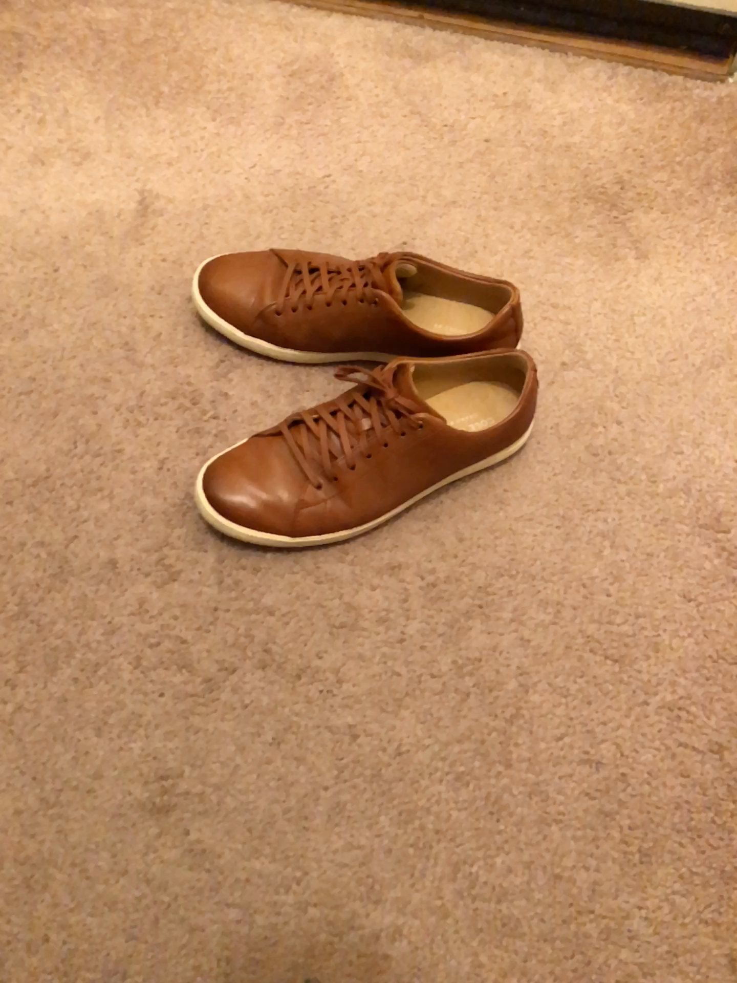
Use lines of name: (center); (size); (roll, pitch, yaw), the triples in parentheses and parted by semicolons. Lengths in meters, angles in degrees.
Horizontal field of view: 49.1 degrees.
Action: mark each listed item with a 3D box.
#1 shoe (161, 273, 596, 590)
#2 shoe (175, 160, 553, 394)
shoe: (0.007, -0.048, 0.614); (0.285, 0.100, 0.117); (-22, 67, -14)
shoe: (0.000, -0.177, 0.678); (0.285, 0.102, 0.118); (7, 64, 0)
